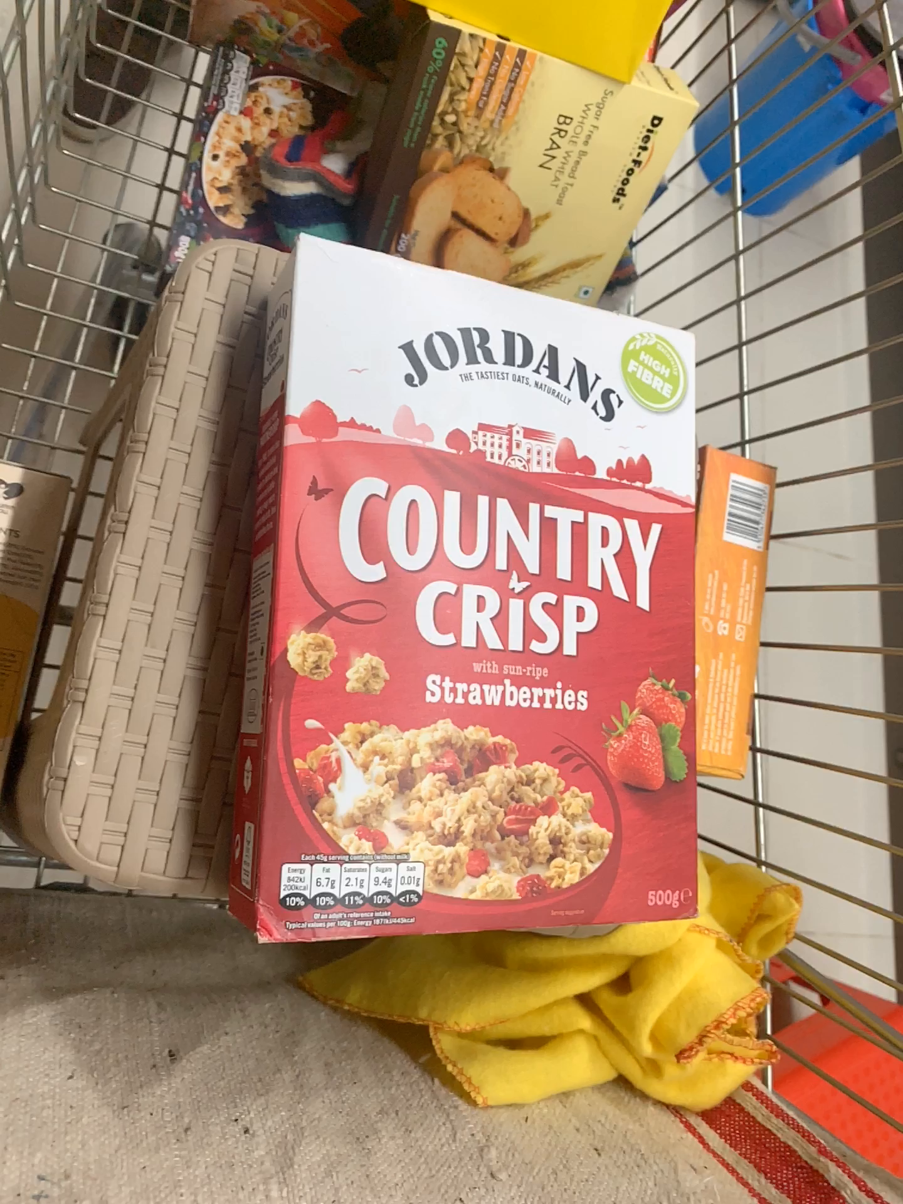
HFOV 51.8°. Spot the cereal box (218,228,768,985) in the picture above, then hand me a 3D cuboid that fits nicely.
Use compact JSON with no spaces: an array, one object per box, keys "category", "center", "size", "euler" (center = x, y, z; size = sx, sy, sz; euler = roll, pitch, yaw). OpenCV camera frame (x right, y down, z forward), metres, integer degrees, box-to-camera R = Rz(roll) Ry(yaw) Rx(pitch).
[{"category":"cereal box","center":[0.019,0.007,0.345],"size":[0.180,0.070,0.230],"euler":[6,79,-23]}]
